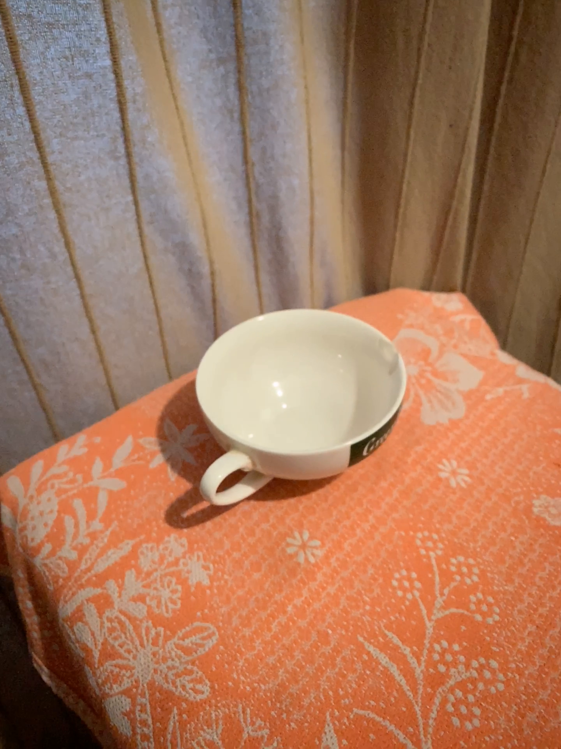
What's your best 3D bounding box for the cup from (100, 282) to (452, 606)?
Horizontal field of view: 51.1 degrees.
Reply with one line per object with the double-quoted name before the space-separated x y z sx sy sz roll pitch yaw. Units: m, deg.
"cup" 0.003 0.022 0.307 0.114 0.056 0.137 25 46 28
